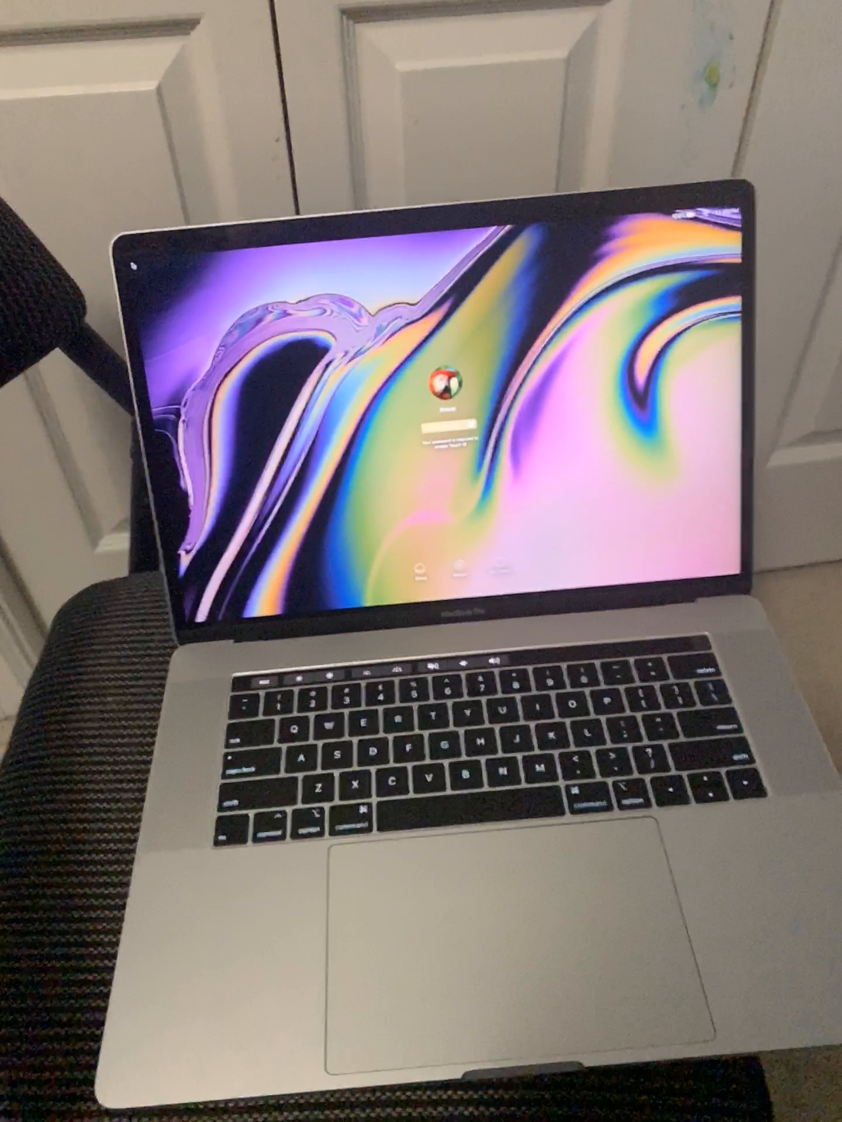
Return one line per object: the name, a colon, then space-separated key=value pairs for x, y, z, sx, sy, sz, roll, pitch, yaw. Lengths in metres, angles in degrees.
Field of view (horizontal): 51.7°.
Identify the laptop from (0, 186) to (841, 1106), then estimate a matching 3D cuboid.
laptop: x=0.025 y=0.009 z=0.399 sx=0.342 sy=0.194 sz=0.353 roll=-5 pitch=45 yaw=0
